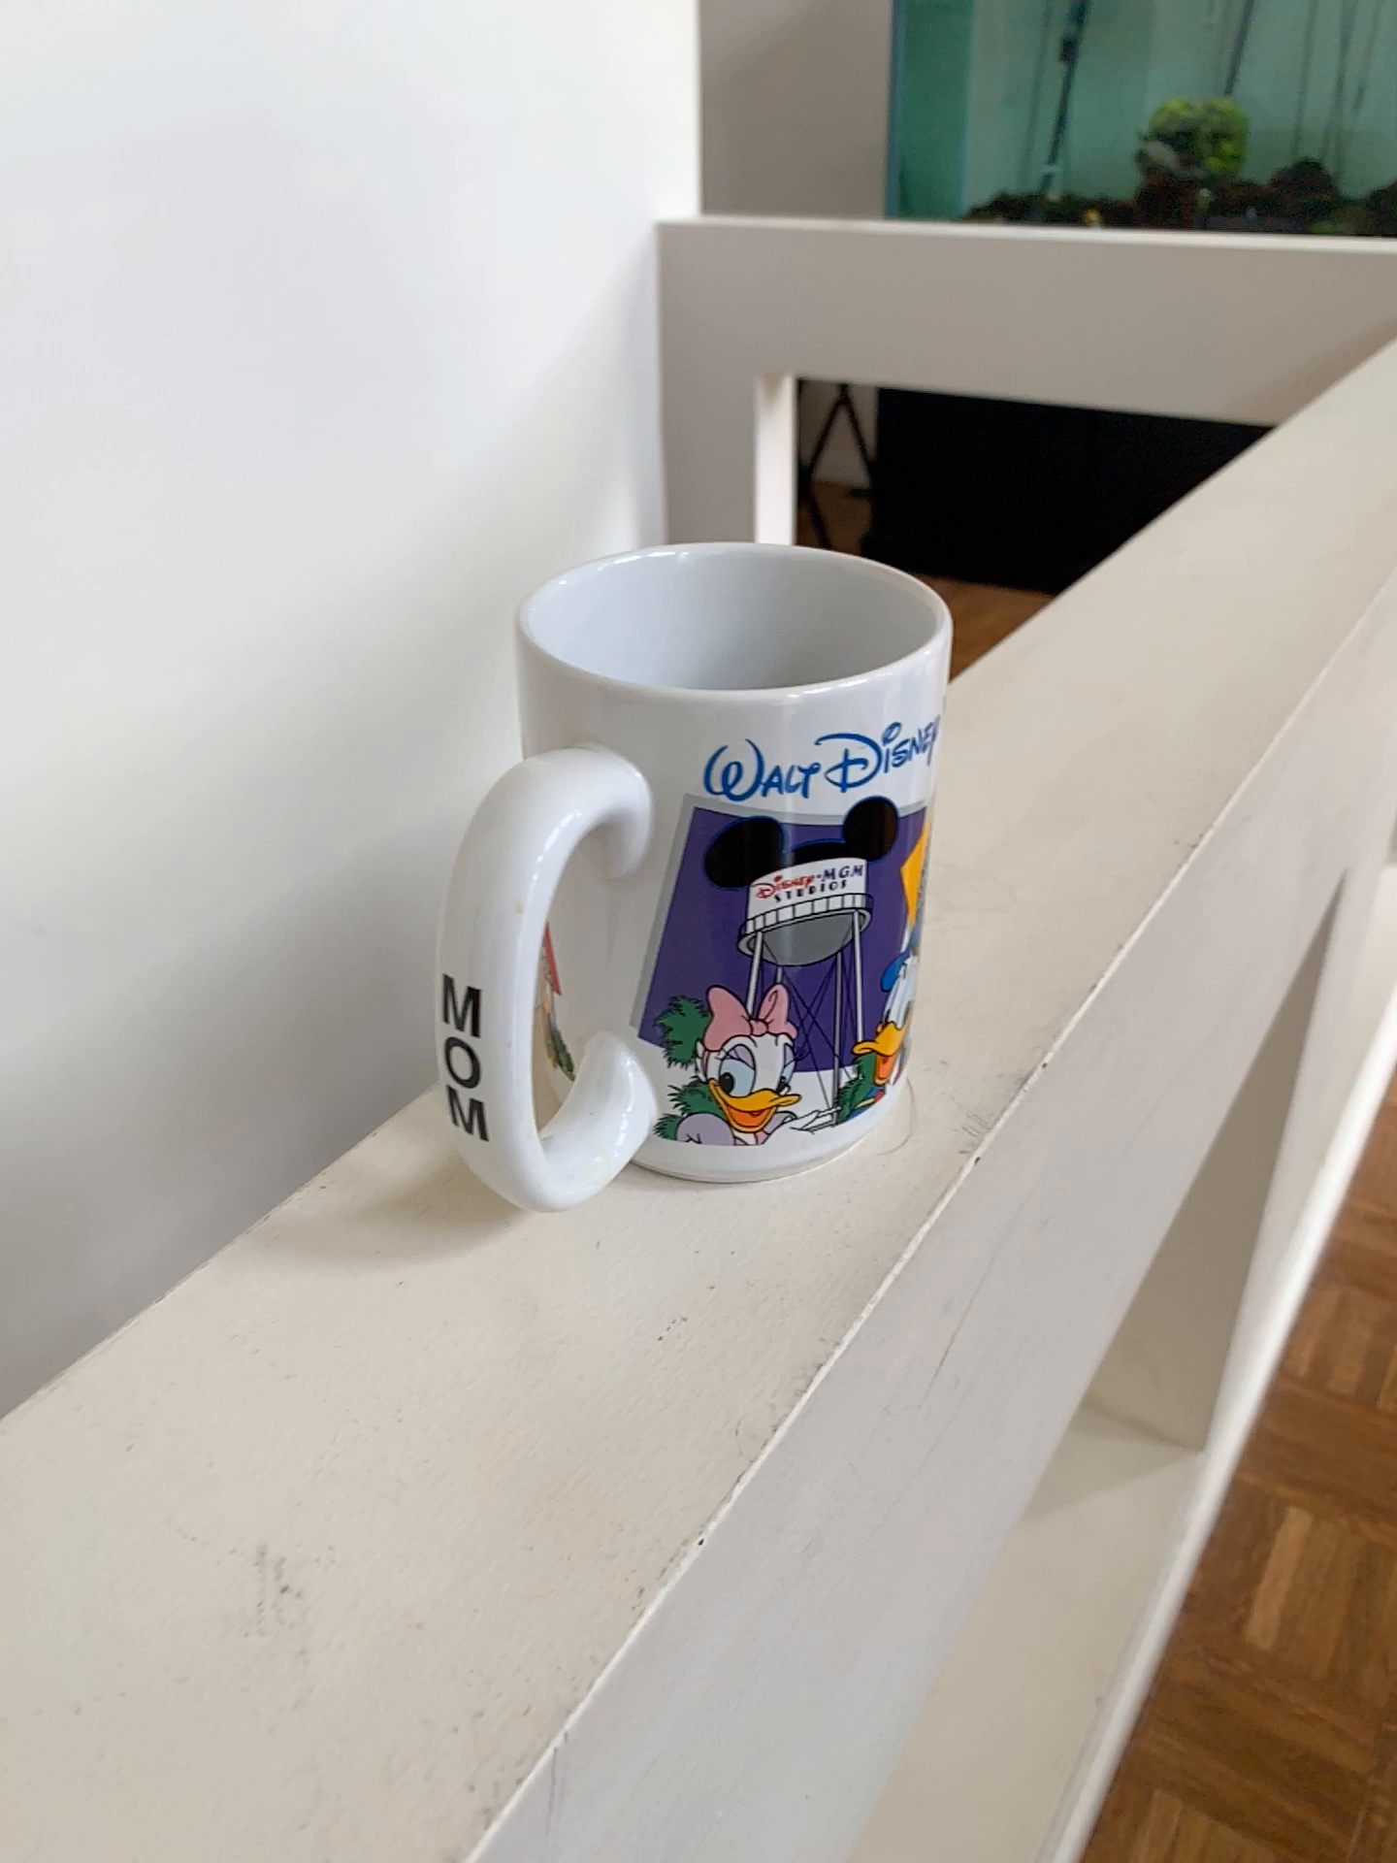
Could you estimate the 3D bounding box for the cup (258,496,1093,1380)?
[{"bbox_3d":[0.004,-0.011,0.290,0.080,0.109,0.140,22,38,33],"label":"cup"}]
